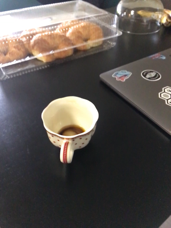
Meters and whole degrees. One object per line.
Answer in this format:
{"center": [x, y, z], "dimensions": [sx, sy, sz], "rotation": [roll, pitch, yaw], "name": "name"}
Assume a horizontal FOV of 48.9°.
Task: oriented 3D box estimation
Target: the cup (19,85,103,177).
{"center": [-0.030, 0.022, 0.310], "dimensions": [0.090, 0.069, 0.121], "rotation": [11, 44, 10], "name": "cup"}
